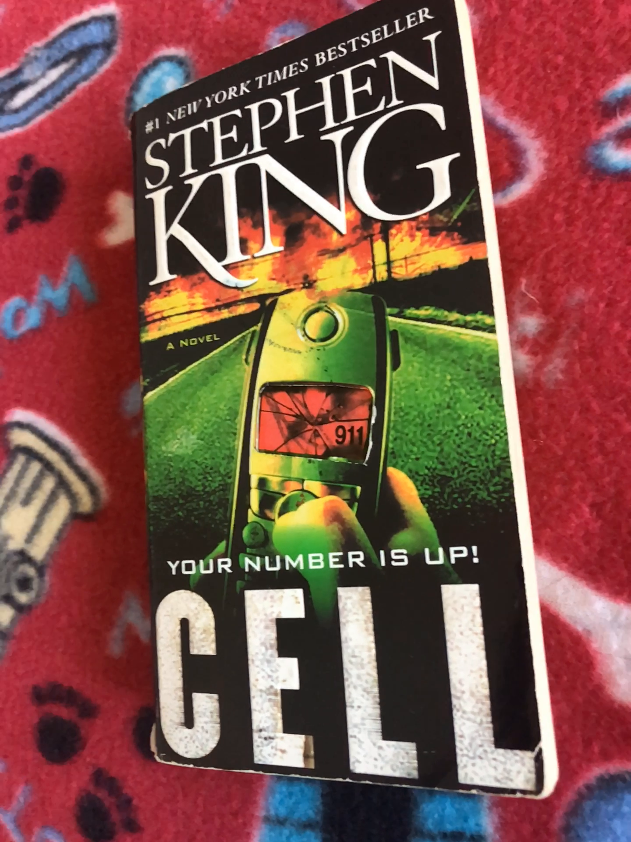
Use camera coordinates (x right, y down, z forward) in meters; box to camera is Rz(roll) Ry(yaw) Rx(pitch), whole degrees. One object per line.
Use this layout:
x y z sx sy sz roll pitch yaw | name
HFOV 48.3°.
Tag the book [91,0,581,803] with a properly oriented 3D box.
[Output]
-0.002 -0.011 0.197 0.120 0.030 0.200 -7 82 23 | book
